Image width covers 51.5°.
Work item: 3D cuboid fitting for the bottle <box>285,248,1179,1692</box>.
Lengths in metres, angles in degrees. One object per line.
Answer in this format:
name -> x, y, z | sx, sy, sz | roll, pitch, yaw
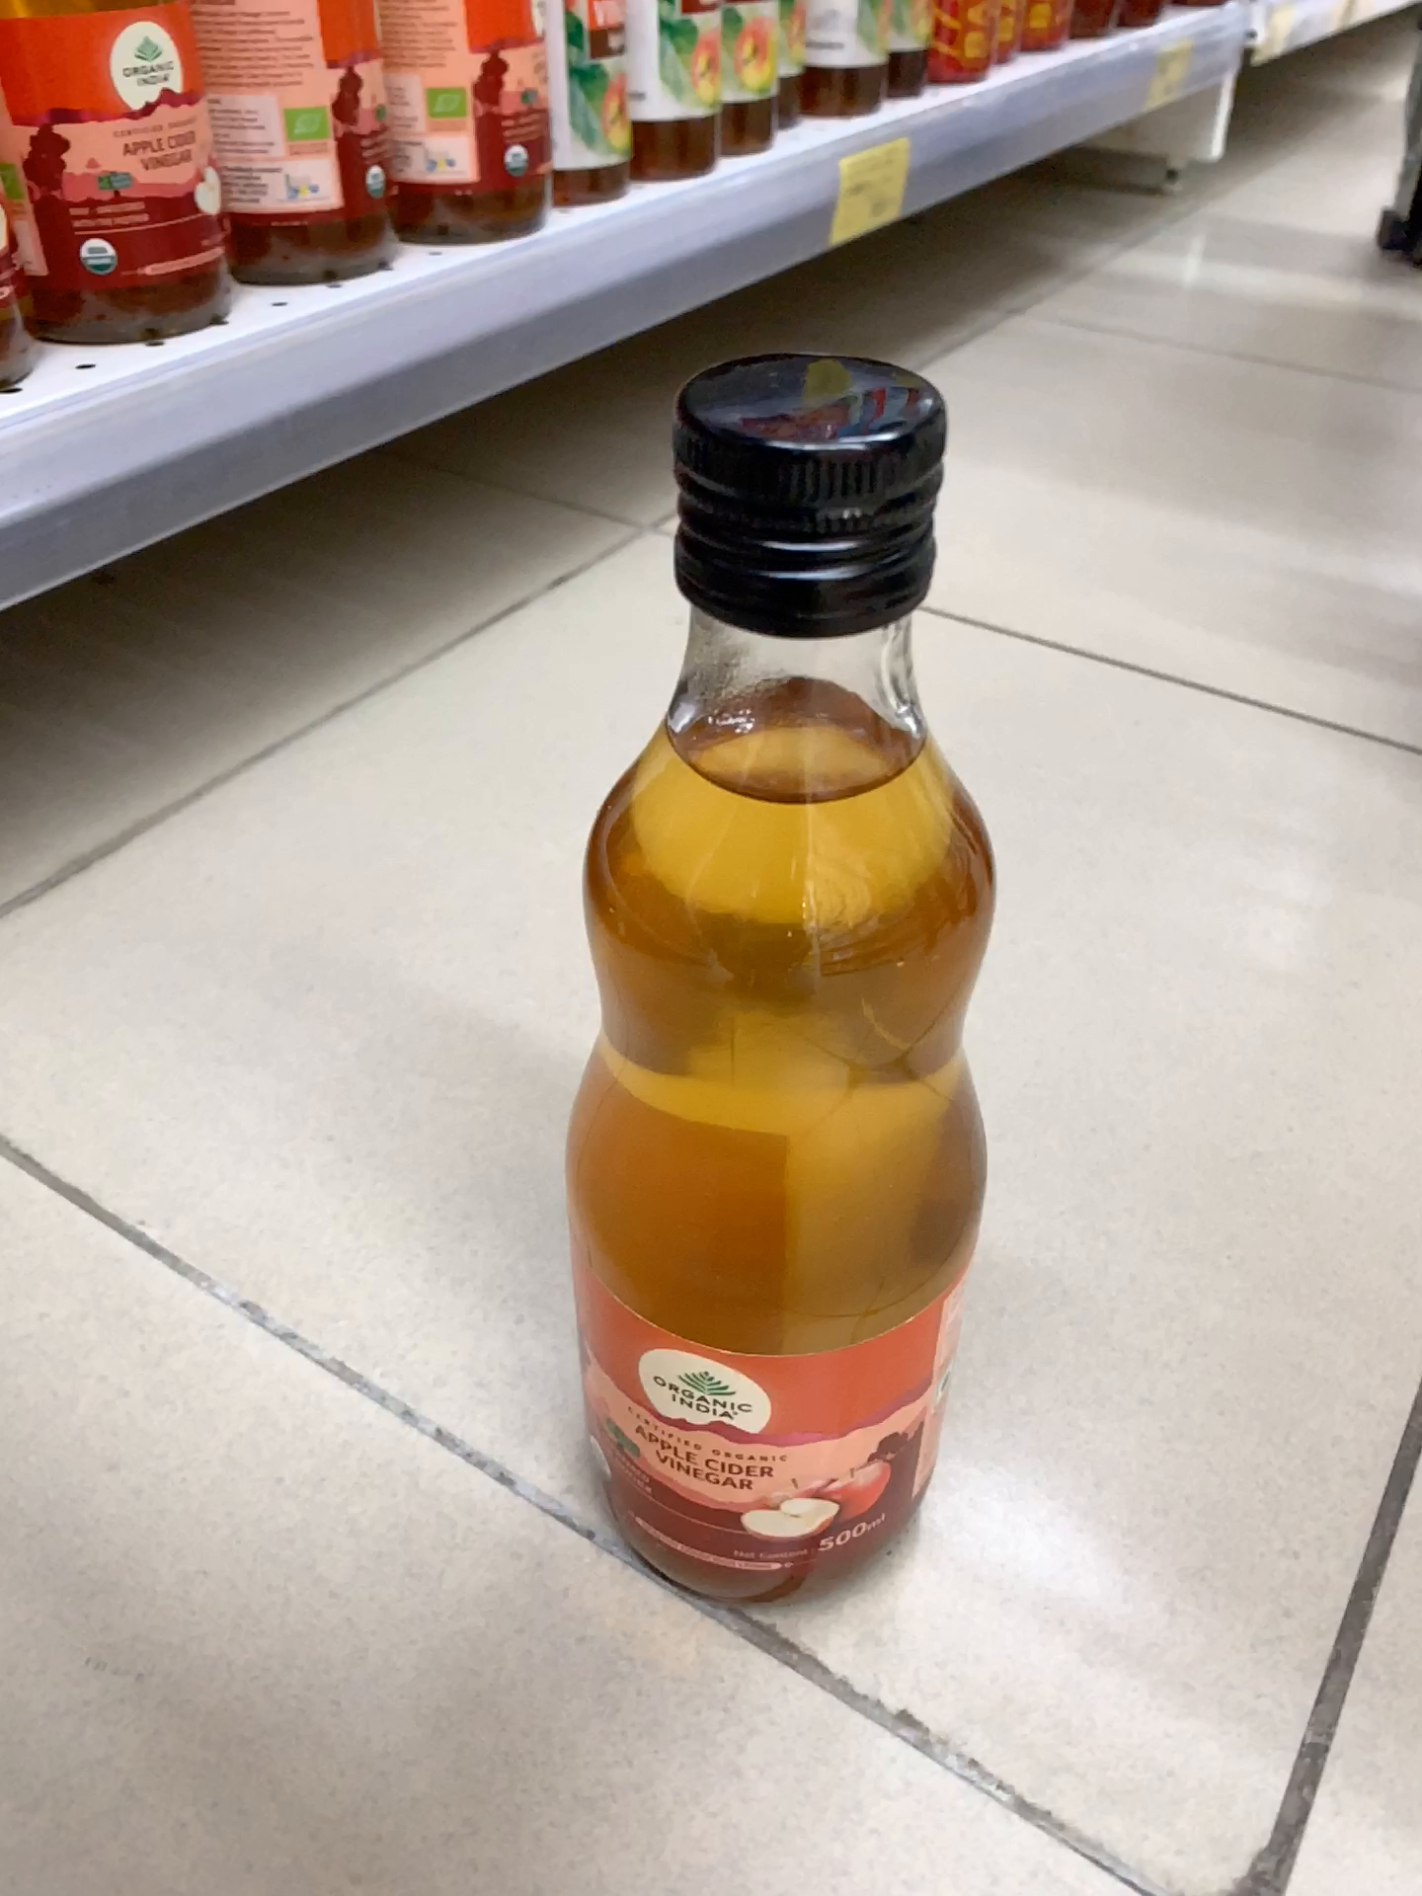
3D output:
bottle -> 0.008, 0.016, 0.230 | 0.080, 0.209, 0.080 | 0, 39, 0
